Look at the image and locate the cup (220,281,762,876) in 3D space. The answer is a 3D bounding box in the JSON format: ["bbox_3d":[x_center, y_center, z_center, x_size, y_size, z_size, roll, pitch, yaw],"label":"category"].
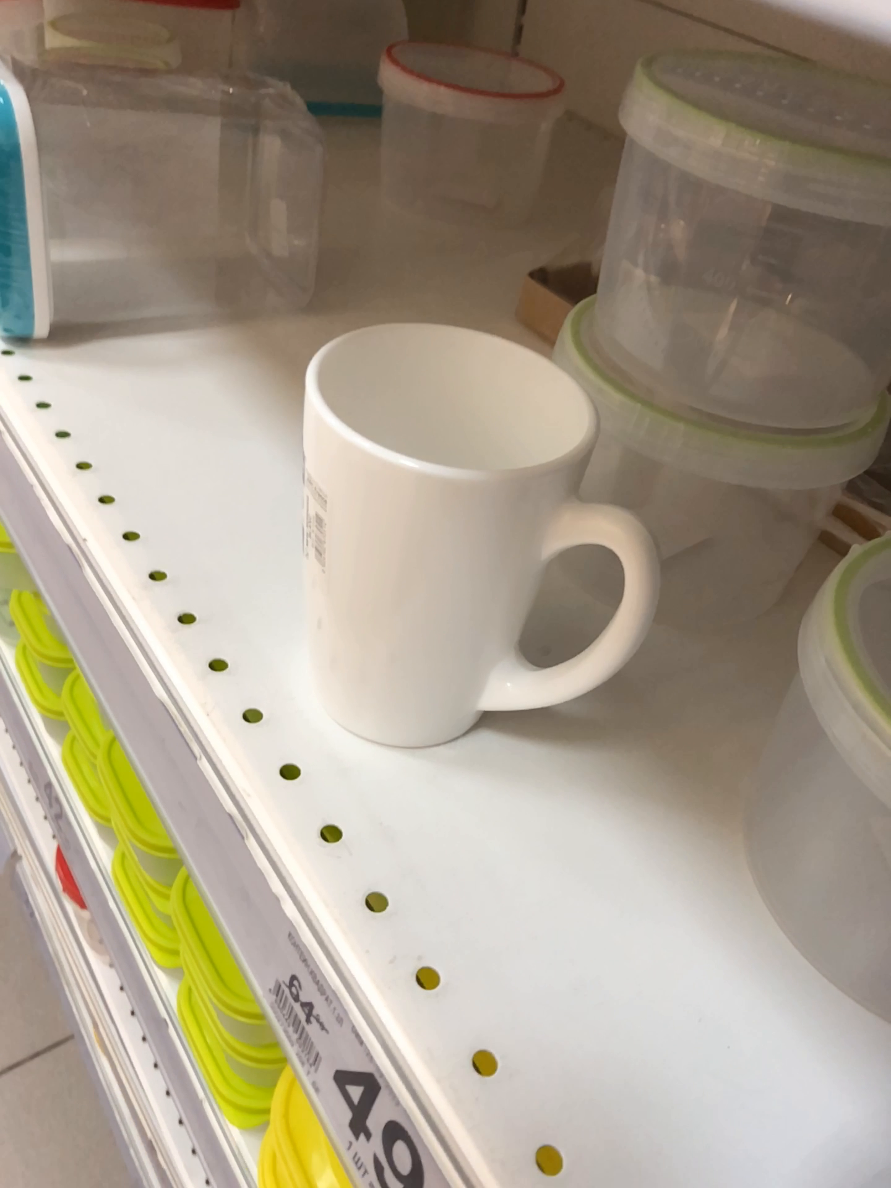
[{"bbox_3d":[0.004,-0.010,0.290,0.120,0.107,0.079,36,47,28],"label":"cup"}]
